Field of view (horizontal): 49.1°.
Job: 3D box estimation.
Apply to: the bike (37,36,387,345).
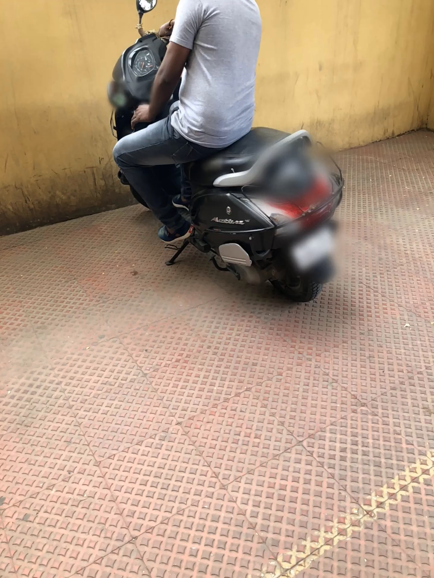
[{"bbox_3d":[-0.140,-0.616,2.299,0.695,1.016,1.549,-24,36,-29],"label":"bike"}]
